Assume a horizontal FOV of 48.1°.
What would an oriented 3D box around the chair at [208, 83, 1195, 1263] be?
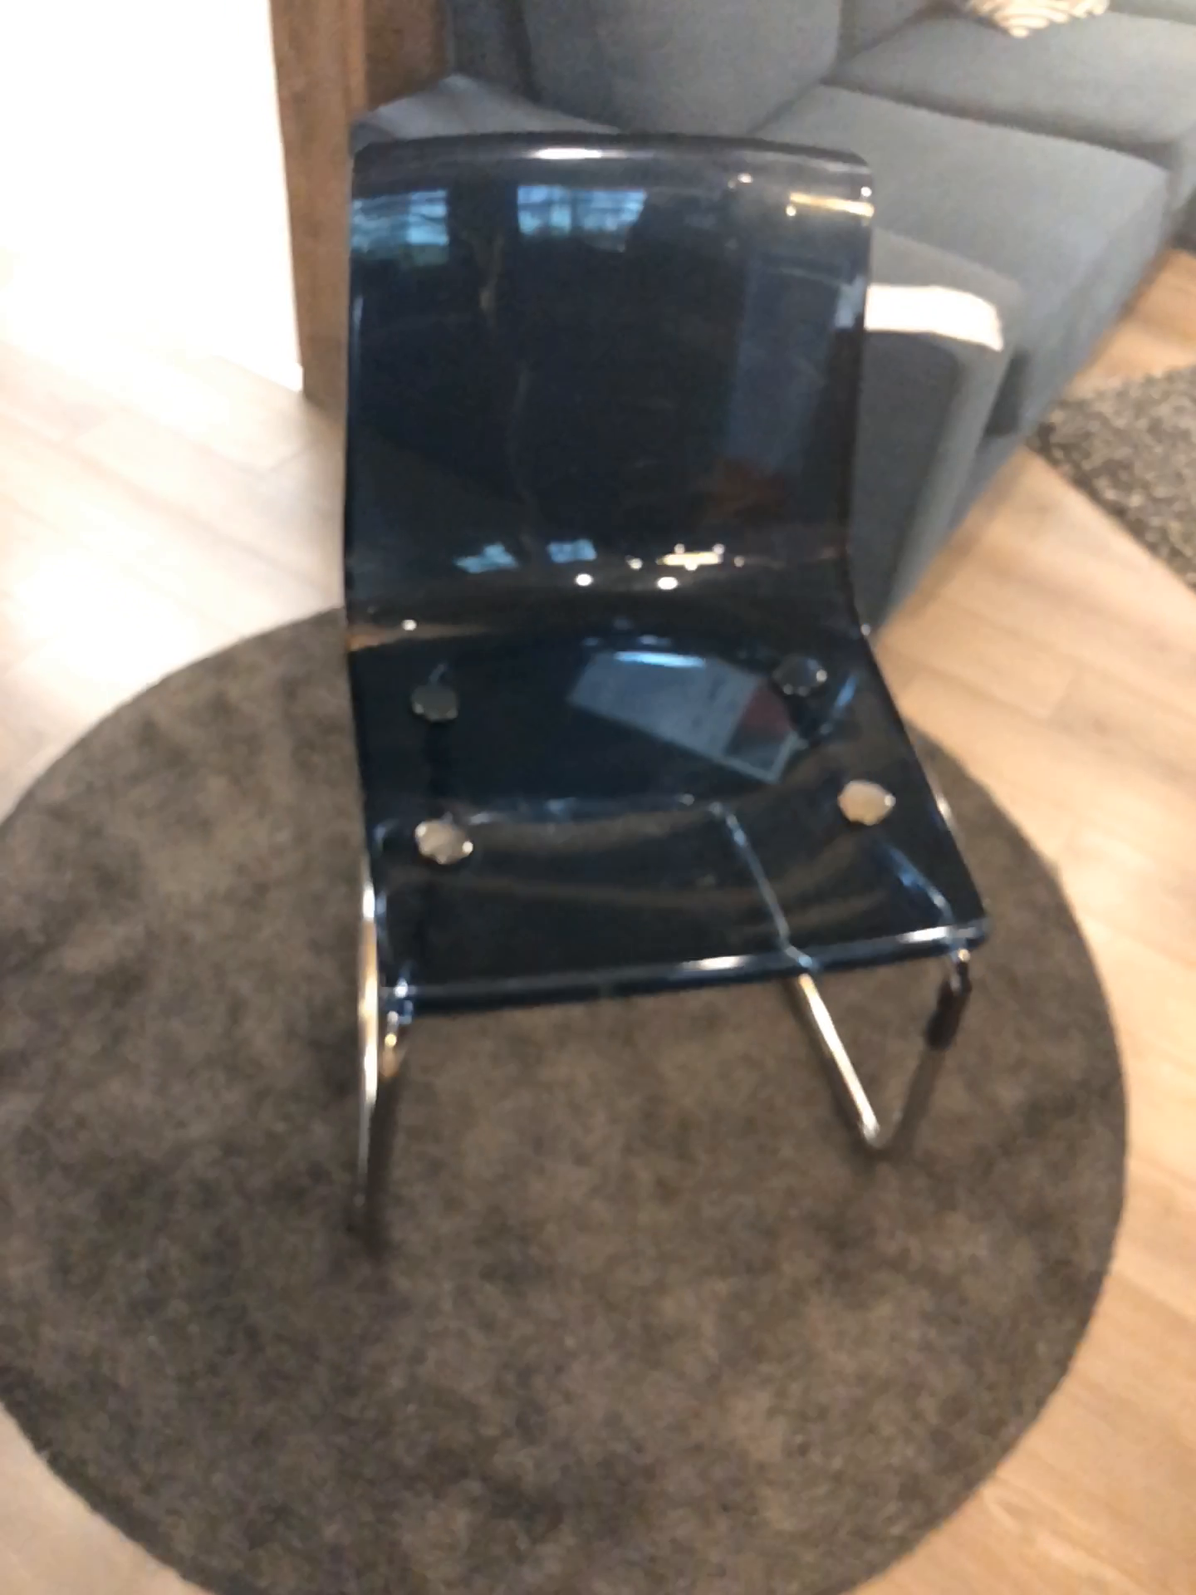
[{"bbox_3d":[0.017,-0.056,1.168,0.580,0.867,0.501,-5,50,-12],"label":"chair"}]
